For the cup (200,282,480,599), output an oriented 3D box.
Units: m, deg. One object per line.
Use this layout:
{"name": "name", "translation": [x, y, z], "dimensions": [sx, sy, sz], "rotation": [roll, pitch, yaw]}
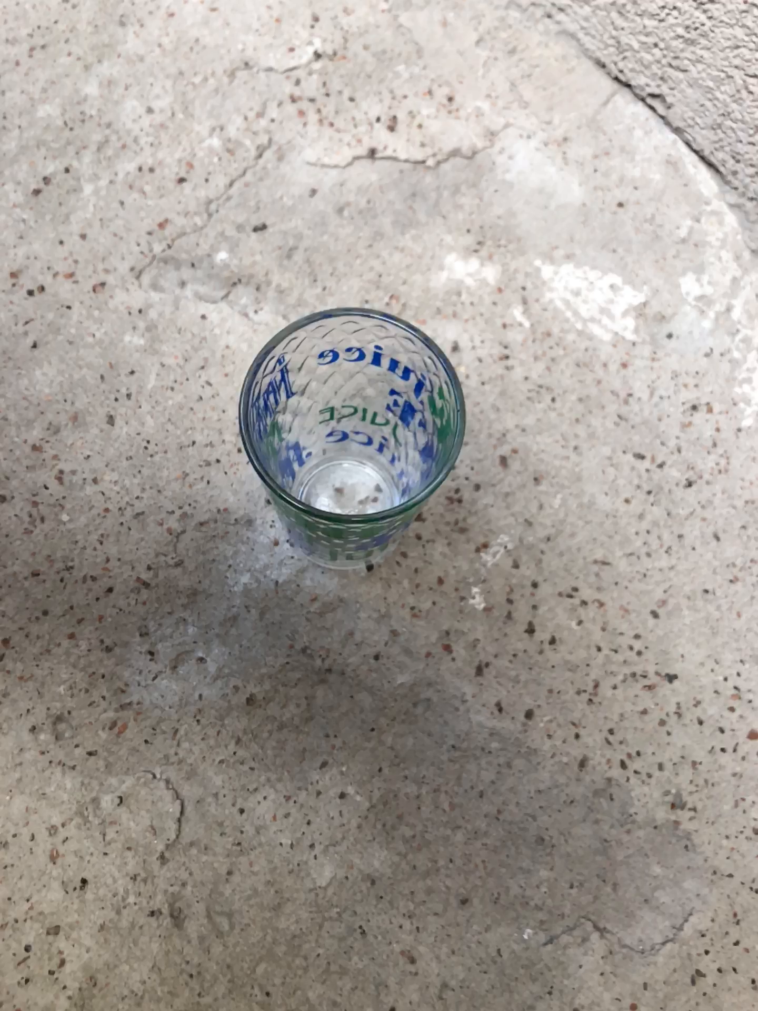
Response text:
{"name": "cup", "translation": [-0.015, -0.012, 0.293], "dimensions": [0.067, 0.126, 0.066], "rotation": [1, 77, -5]}
